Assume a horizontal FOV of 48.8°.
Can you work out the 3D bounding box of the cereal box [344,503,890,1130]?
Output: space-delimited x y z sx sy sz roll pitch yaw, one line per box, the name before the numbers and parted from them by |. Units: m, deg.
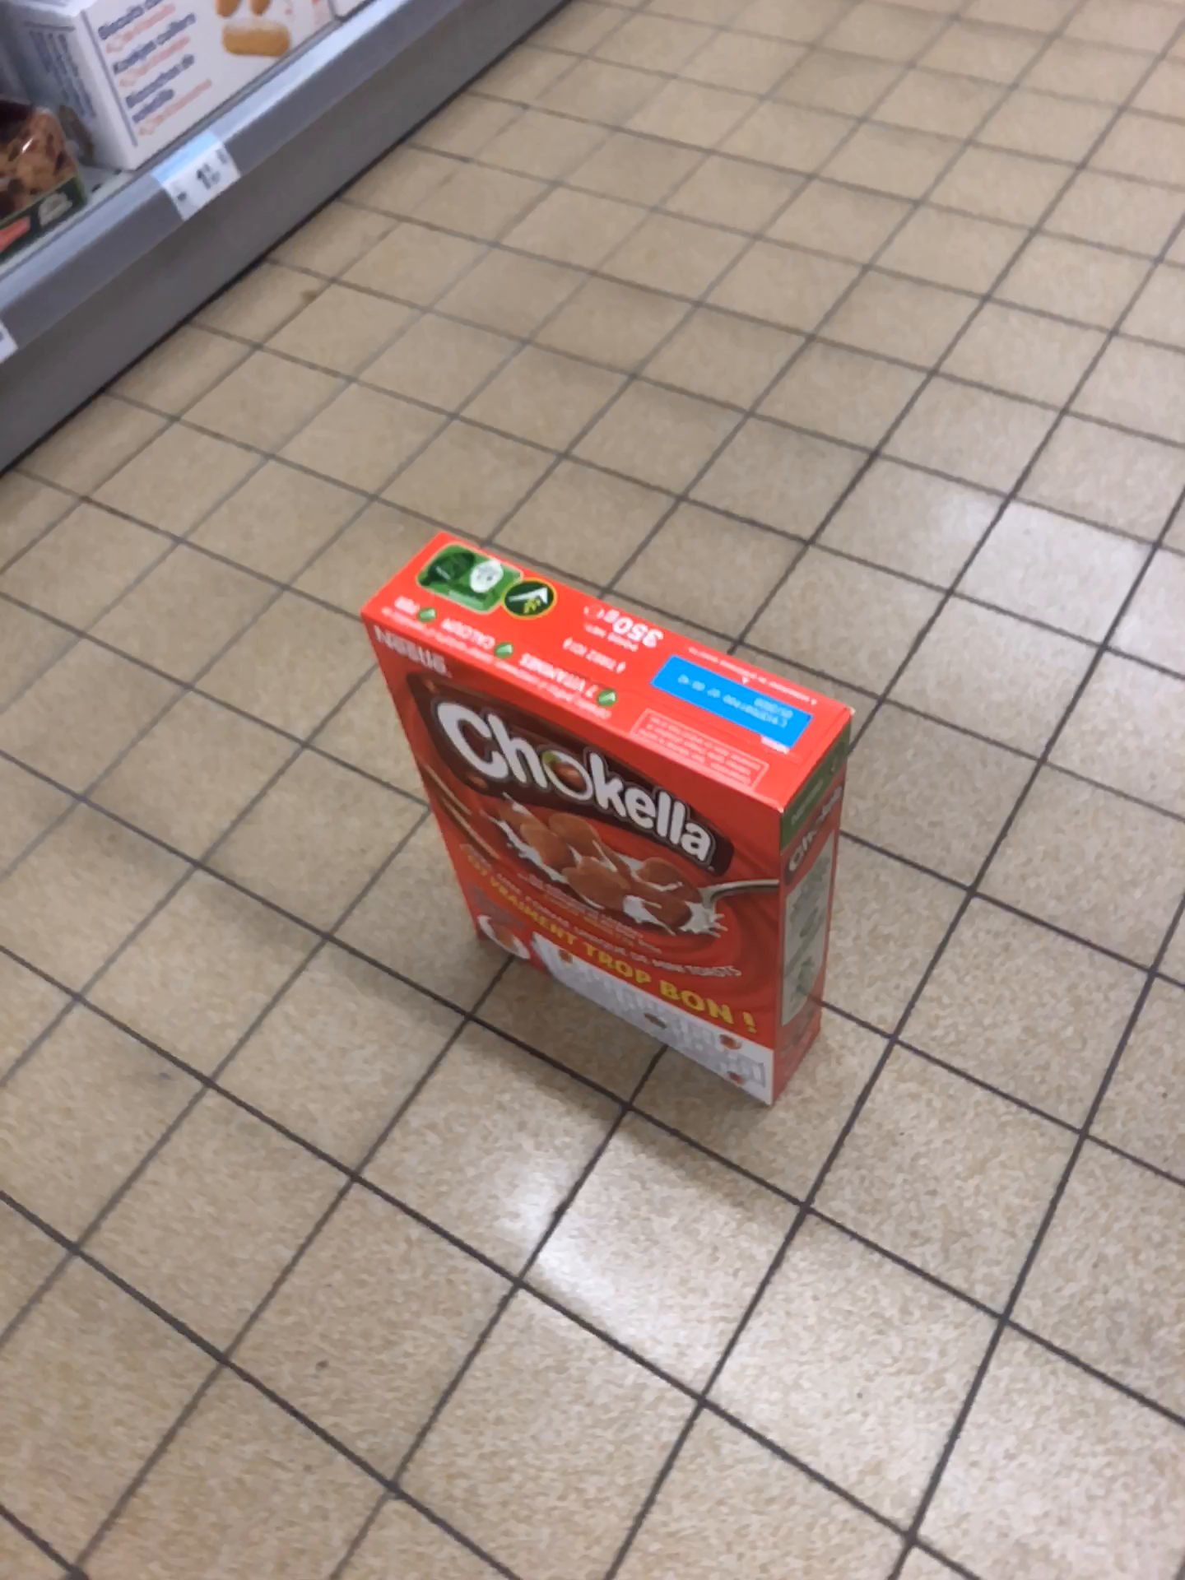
cereal box | 0.017 0.026 0.591 0.200 0.279 0.060 26 61 23
